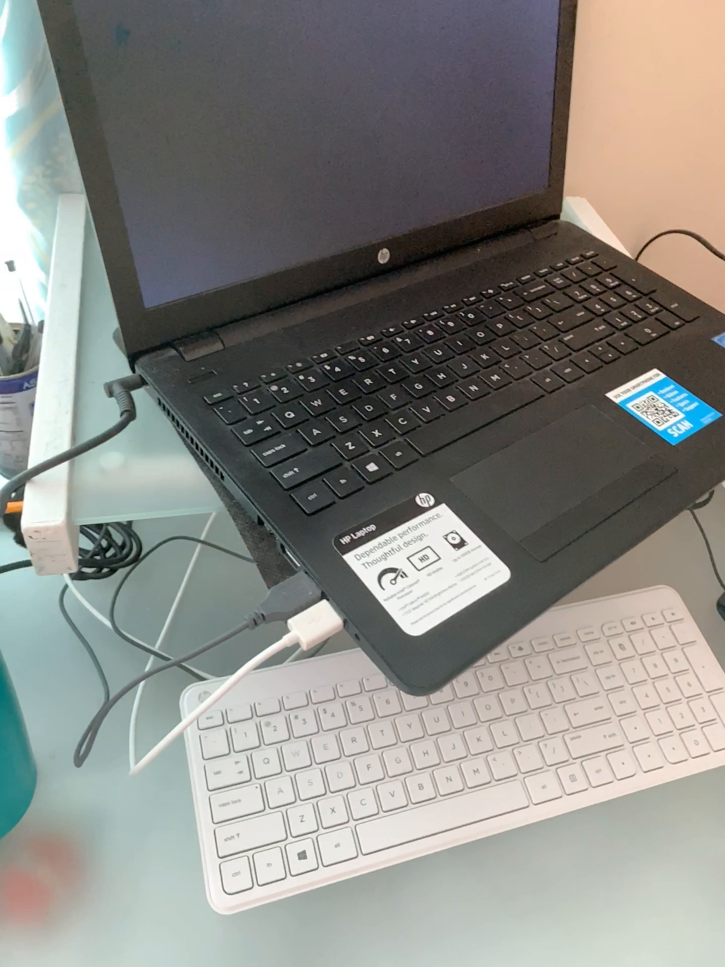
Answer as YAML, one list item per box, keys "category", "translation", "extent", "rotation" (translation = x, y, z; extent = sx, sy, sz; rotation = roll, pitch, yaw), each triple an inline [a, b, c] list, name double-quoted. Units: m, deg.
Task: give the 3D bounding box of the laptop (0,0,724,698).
- category: "laptop"
  translation: [0.081, -0.157, 0.383]
  extent: [0.365, 0.222, 0.308]
  rotation: [-26, 55, -29]
